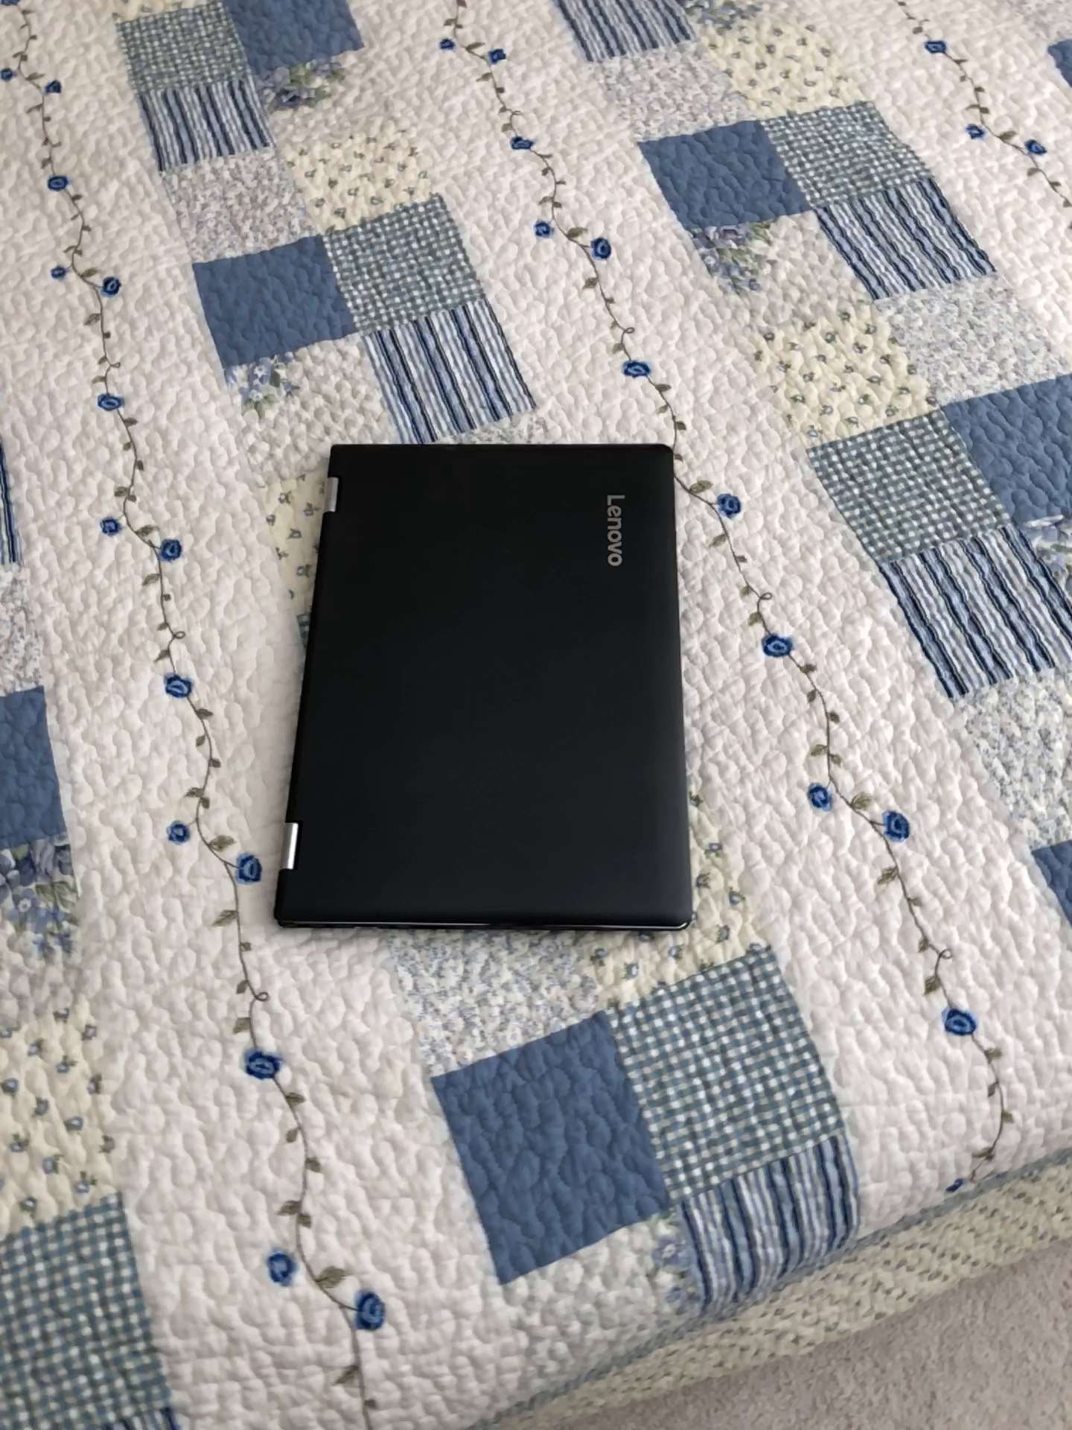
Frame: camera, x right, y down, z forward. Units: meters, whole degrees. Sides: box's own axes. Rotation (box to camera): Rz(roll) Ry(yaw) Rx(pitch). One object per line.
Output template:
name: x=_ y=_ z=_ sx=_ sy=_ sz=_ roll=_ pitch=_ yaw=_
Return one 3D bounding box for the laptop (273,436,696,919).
laptop: x=-0.026 y=-0.036 z=0.701 sx=0.223 sy=0.008 sz=0.321 roll=-1 pitch=62 yaw=3
